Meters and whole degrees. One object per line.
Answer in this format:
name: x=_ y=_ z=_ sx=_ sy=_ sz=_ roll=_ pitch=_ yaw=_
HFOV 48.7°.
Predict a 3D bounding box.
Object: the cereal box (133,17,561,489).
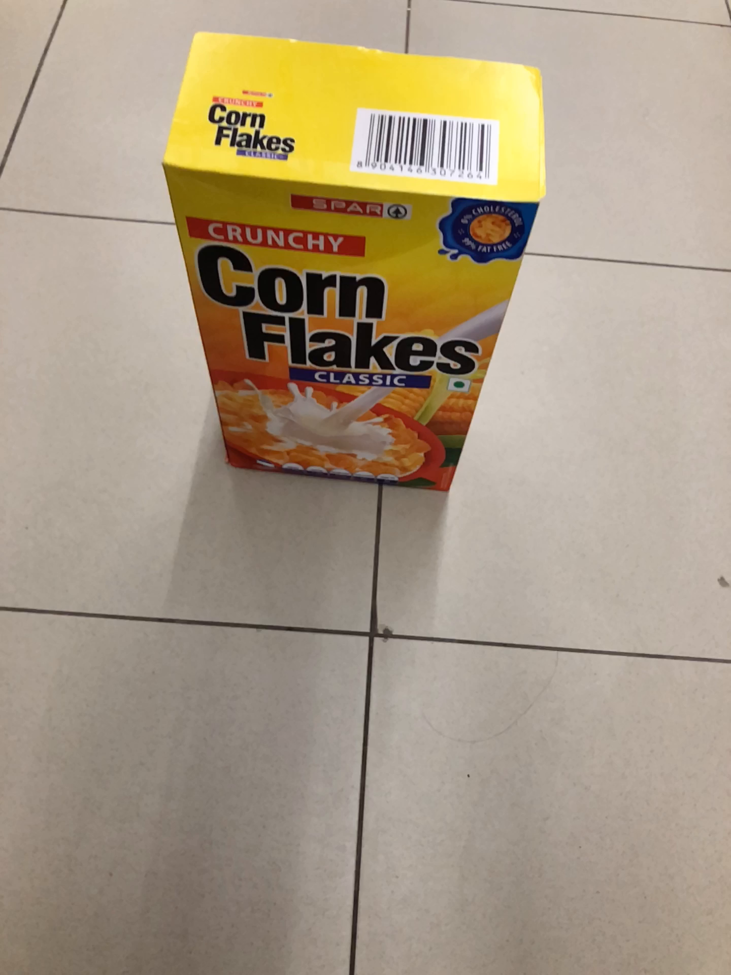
cereal box: x=-0.012 y=-0.122 z=0.532 sx=0.200 sy=0.299 sz=0.100 roll=6 pitch=62 yaw=0
